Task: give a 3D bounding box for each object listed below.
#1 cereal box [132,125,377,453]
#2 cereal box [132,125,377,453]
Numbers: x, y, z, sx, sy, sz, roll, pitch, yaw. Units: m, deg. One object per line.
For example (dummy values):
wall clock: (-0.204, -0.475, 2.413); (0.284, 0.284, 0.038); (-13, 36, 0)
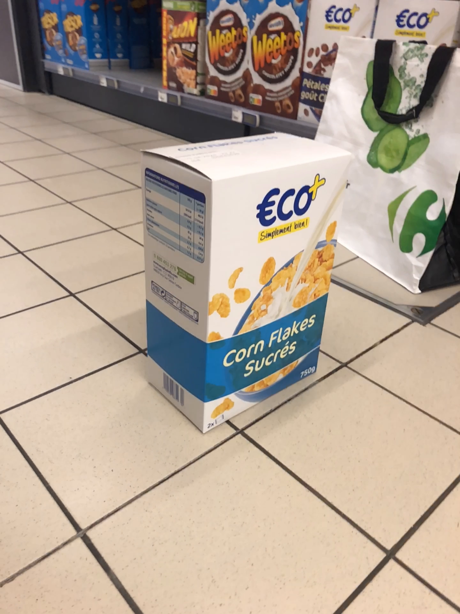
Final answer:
cereal box: (0.023, -0.031, 0.572); (0.211, 0.298, 0.130); (-20, 36, -35)
cereal box: (0.023, -0.031, 0.572); (0.211, 0.298, 0.130); (-20, 36, -35)
